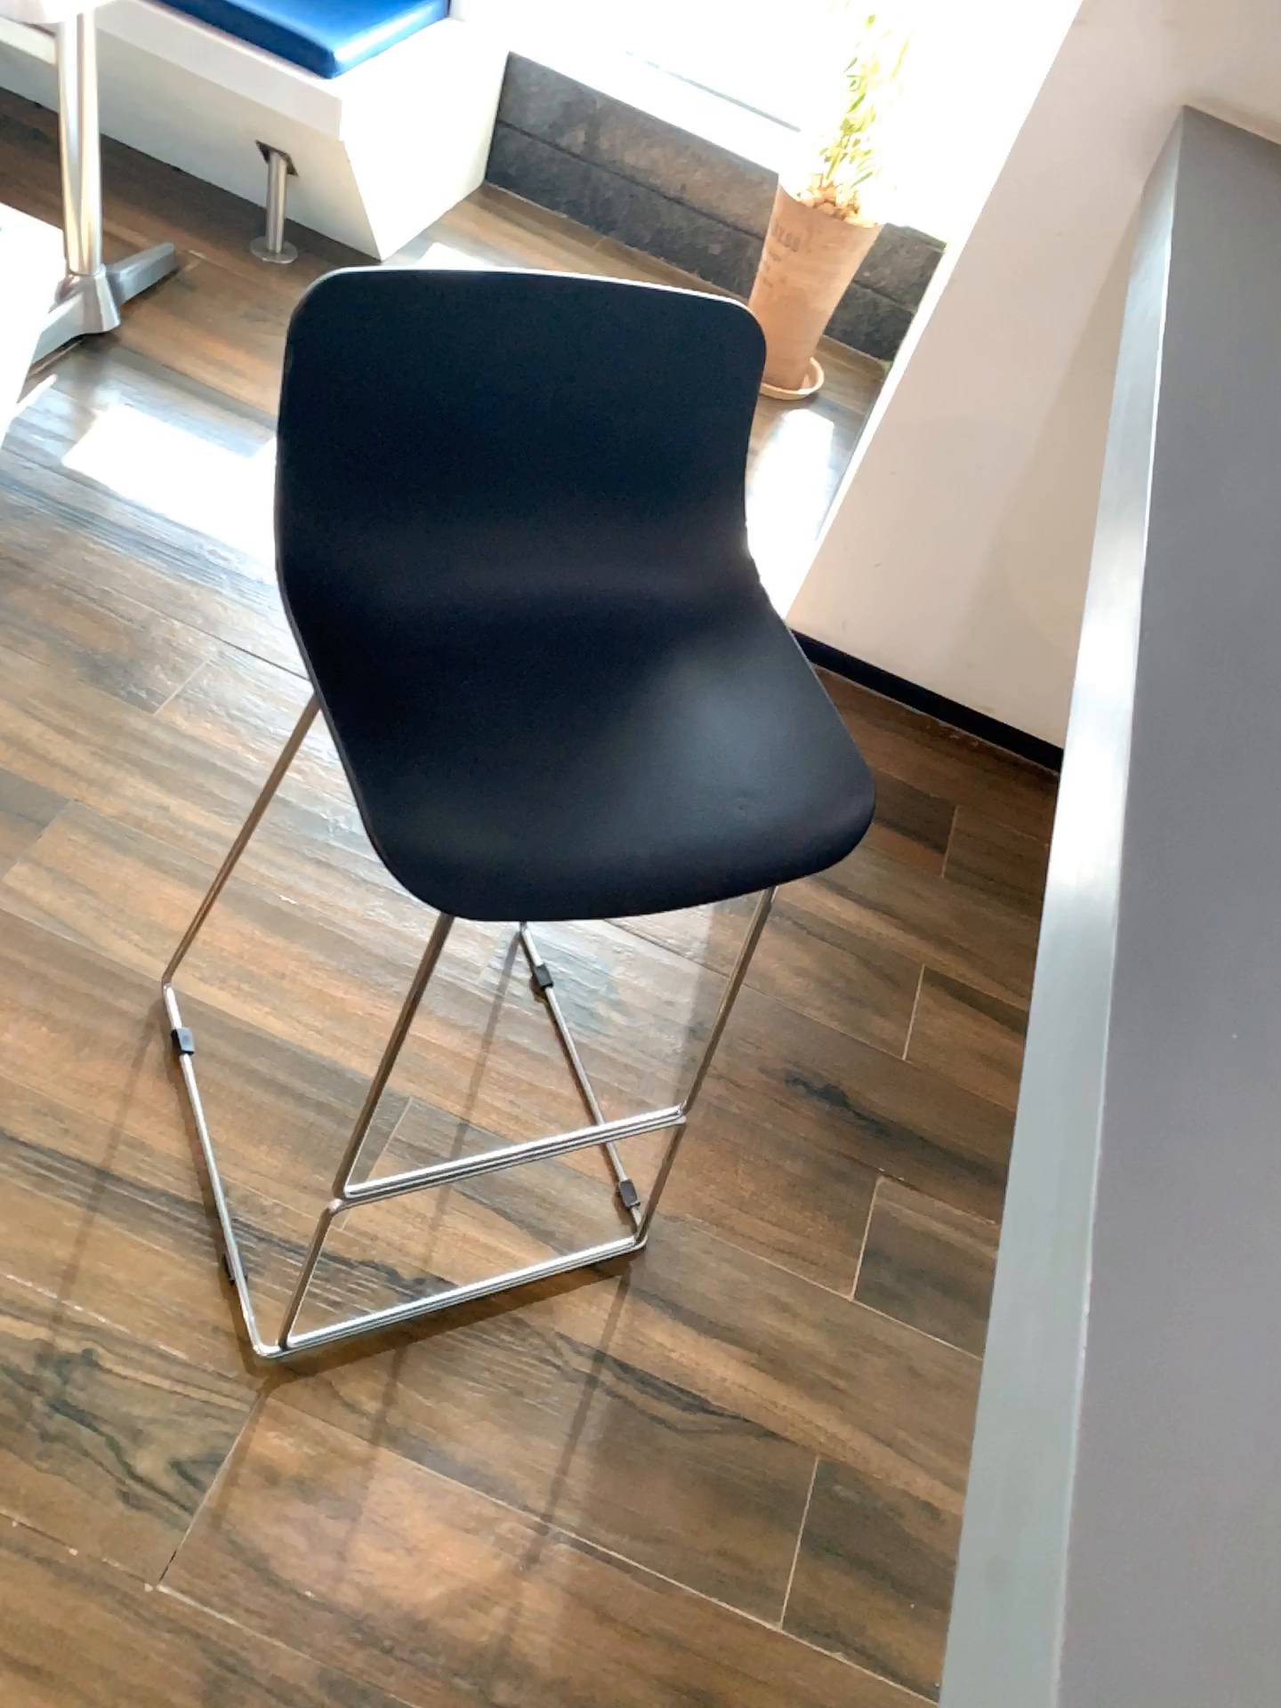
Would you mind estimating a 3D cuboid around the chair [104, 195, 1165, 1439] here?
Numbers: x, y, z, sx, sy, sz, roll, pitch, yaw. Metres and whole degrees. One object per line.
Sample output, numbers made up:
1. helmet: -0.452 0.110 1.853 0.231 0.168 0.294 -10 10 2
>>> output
1. chair: -0.136 0.008 1.176 0.541 0.863 0.593 -9 55 -27
